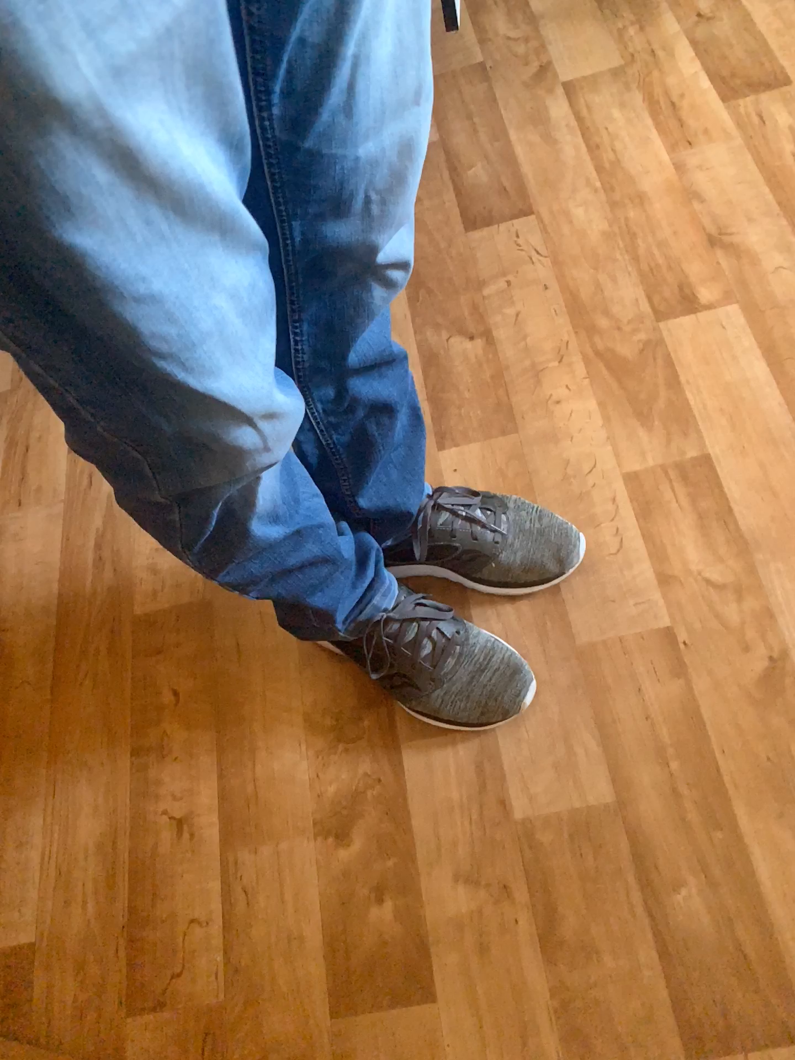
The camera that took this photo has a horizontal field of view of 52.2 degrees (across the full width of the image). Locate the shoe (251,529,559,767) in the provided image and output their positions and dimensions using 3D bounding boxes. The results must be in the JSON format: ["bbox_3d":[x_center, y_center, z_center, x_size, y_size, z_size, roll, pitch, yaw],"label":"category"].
[{"bbox_3d":[0.010,0.117,0.838,0.280,0.100,0.124,20,68,22],"label":"shoe"}]

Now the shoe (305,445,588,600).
[{"bbox_3d":[0.060,-0.006,0.895,0.290,0.100,0.134,-1,62,13],"label":"shoe"}]
